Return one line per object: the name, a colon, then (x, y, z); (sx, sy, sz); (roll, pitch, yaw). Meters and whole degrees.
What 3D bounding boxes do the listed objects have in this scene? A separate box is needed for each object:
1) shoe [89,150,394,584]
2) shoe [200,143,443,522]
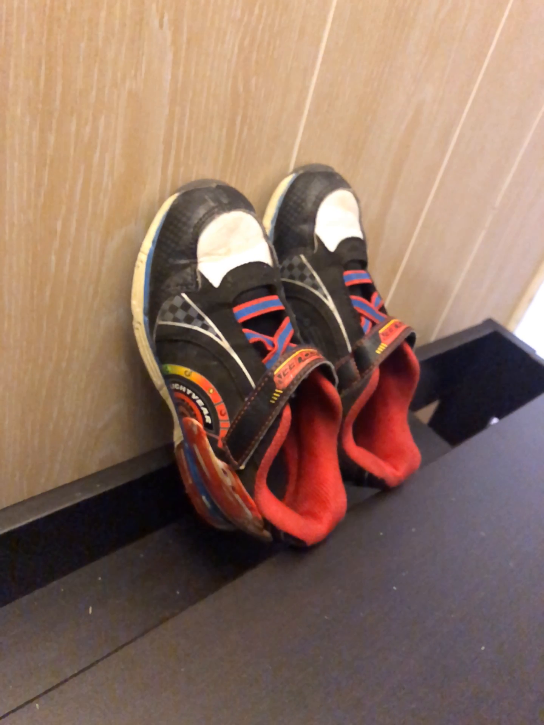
shoe: (-0.015, -0.002, 0.327); (0.090, 0.200, 0.070); (-19, 5, -39)
shoe: (0.034, -0.021, 0.386); (0.090, 0.210, 0.070); (-17, 8, -37)
